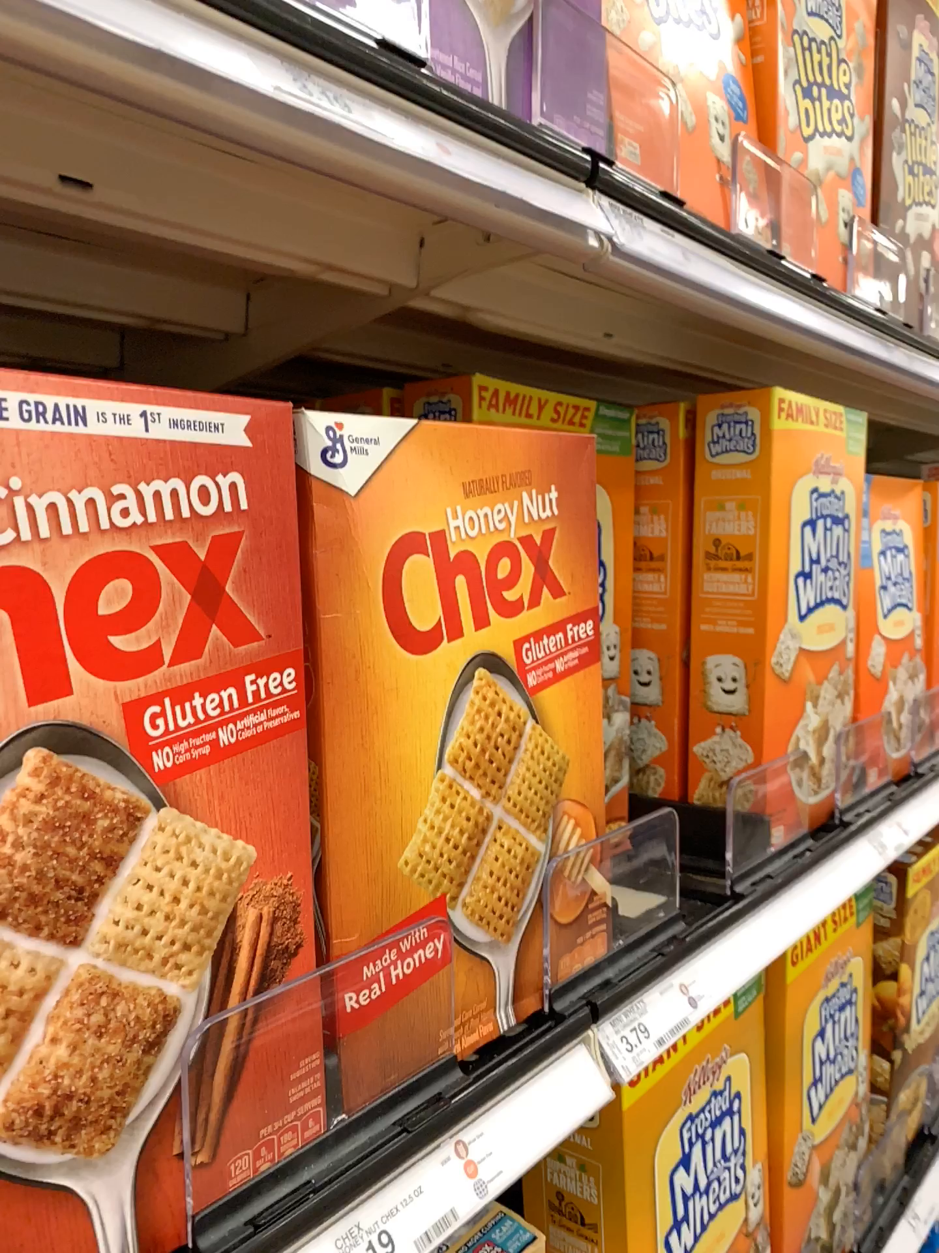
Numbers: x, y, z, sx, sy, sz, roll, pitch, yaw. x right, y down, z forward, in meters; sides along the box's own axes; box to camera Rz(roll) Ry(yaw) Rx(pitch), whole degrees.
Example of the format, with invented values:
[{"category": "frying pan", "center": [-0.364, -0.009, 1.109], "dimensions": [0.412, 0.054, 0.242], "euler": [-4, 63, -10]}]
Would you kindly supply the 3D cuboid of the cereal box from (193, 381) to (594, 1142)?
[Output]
[{"category": "cereal box", "center": [-0.021, 0.044, 0.448], "dimensions": [0.060, 0.280, 0.200], "euler": [4, 6, 38]}]
